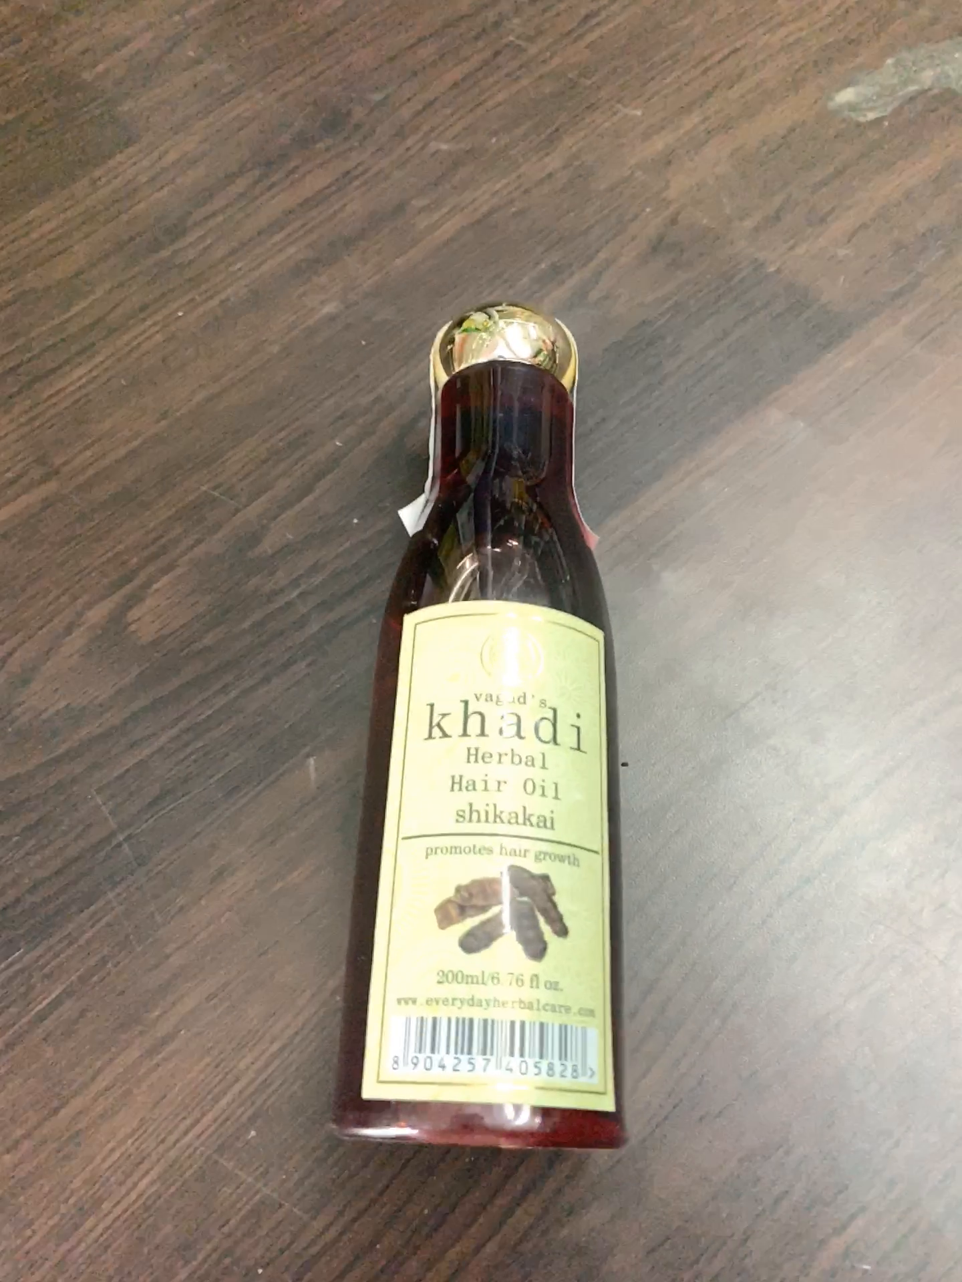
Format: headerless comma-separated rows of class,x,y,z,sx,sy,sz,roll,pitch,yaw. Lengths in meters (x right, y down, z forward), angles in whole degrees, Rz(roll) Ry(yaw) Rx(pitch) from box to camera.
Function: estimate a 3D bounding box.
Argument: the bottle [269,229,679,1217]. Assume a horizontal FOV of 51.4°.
bottle,0.003,0.005,0.183,0.050,0.050,0.170,3,62,1
